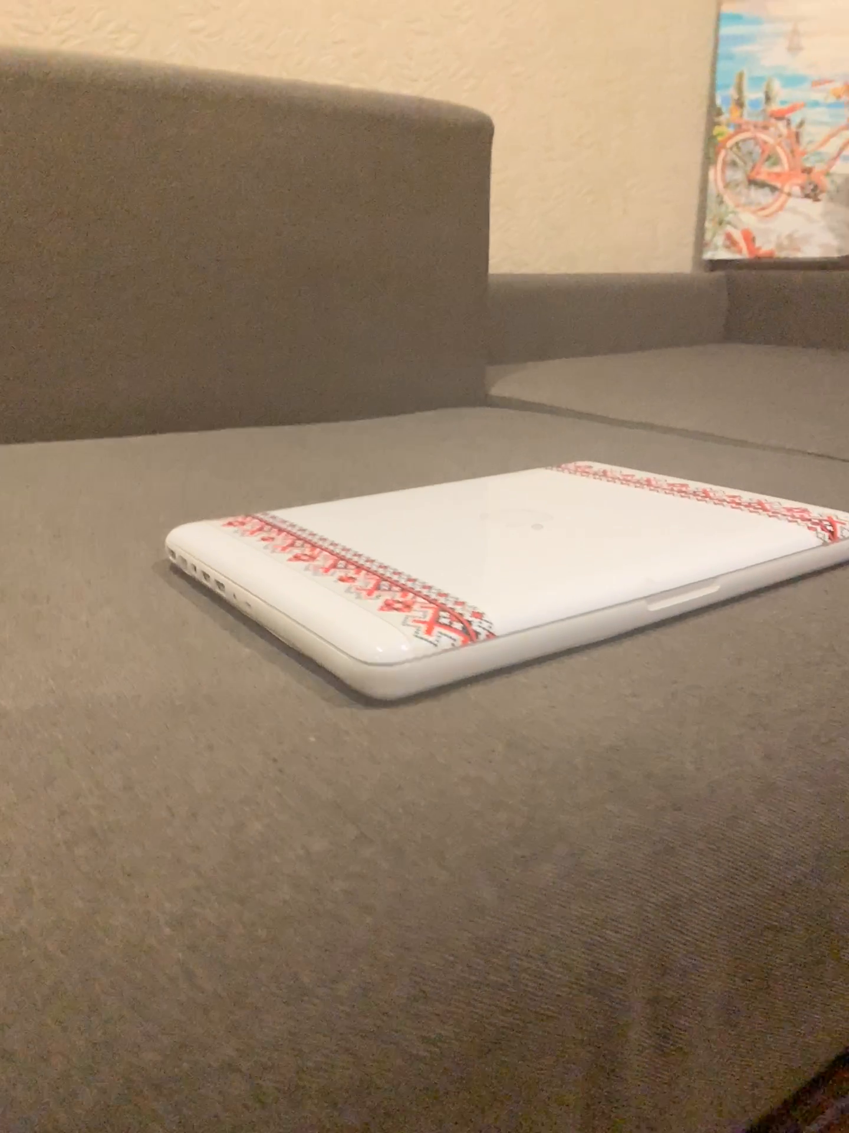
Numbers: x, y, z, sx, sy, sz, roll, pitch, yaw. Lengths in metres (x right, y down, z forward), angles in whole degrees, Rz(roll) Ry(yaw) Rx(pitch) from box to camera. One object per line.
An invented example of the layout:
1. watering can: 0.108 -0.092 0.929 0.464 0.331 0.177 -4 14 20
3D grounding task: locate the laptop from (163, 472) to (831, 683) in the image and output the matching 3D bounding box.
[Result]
1. laptop: 0.044 -0.015 0.505 0.325 0.003 0.222 -12 22 -34
